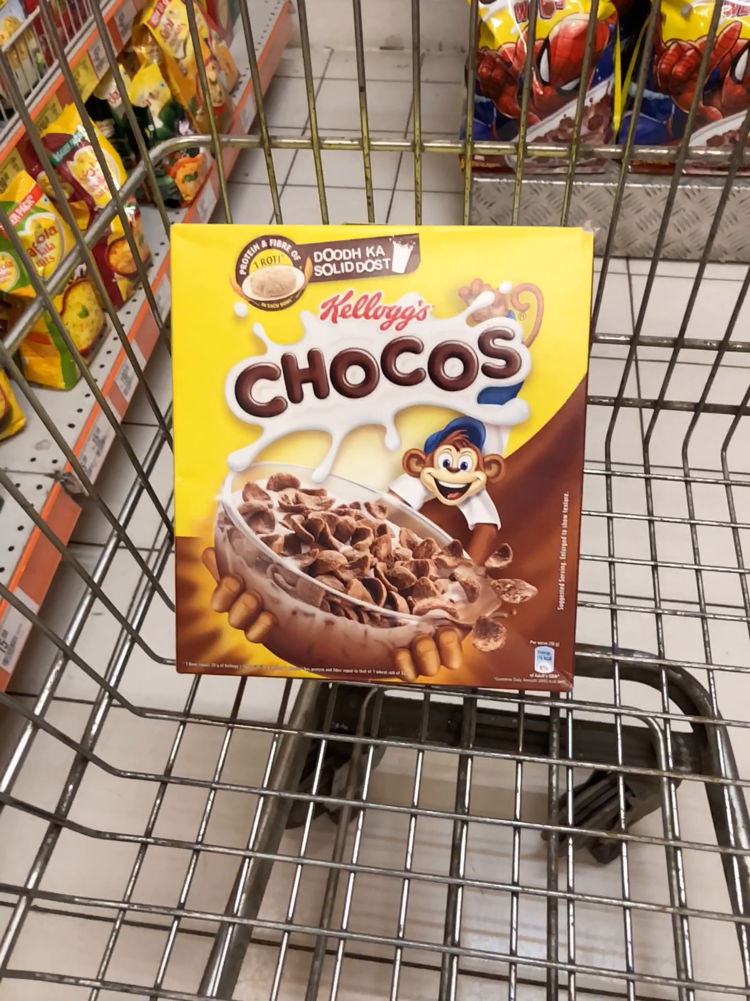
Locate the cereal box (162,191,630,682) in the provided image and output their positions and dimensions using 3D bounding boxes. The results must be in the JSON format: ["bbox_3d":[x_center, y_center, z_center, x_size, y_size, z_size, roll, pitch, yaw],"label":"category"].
[{"bbox_3d":[0.007,-0.030,0.382,0.190,0.070,0.200,2,97,4],"label":"cereal box"}]
